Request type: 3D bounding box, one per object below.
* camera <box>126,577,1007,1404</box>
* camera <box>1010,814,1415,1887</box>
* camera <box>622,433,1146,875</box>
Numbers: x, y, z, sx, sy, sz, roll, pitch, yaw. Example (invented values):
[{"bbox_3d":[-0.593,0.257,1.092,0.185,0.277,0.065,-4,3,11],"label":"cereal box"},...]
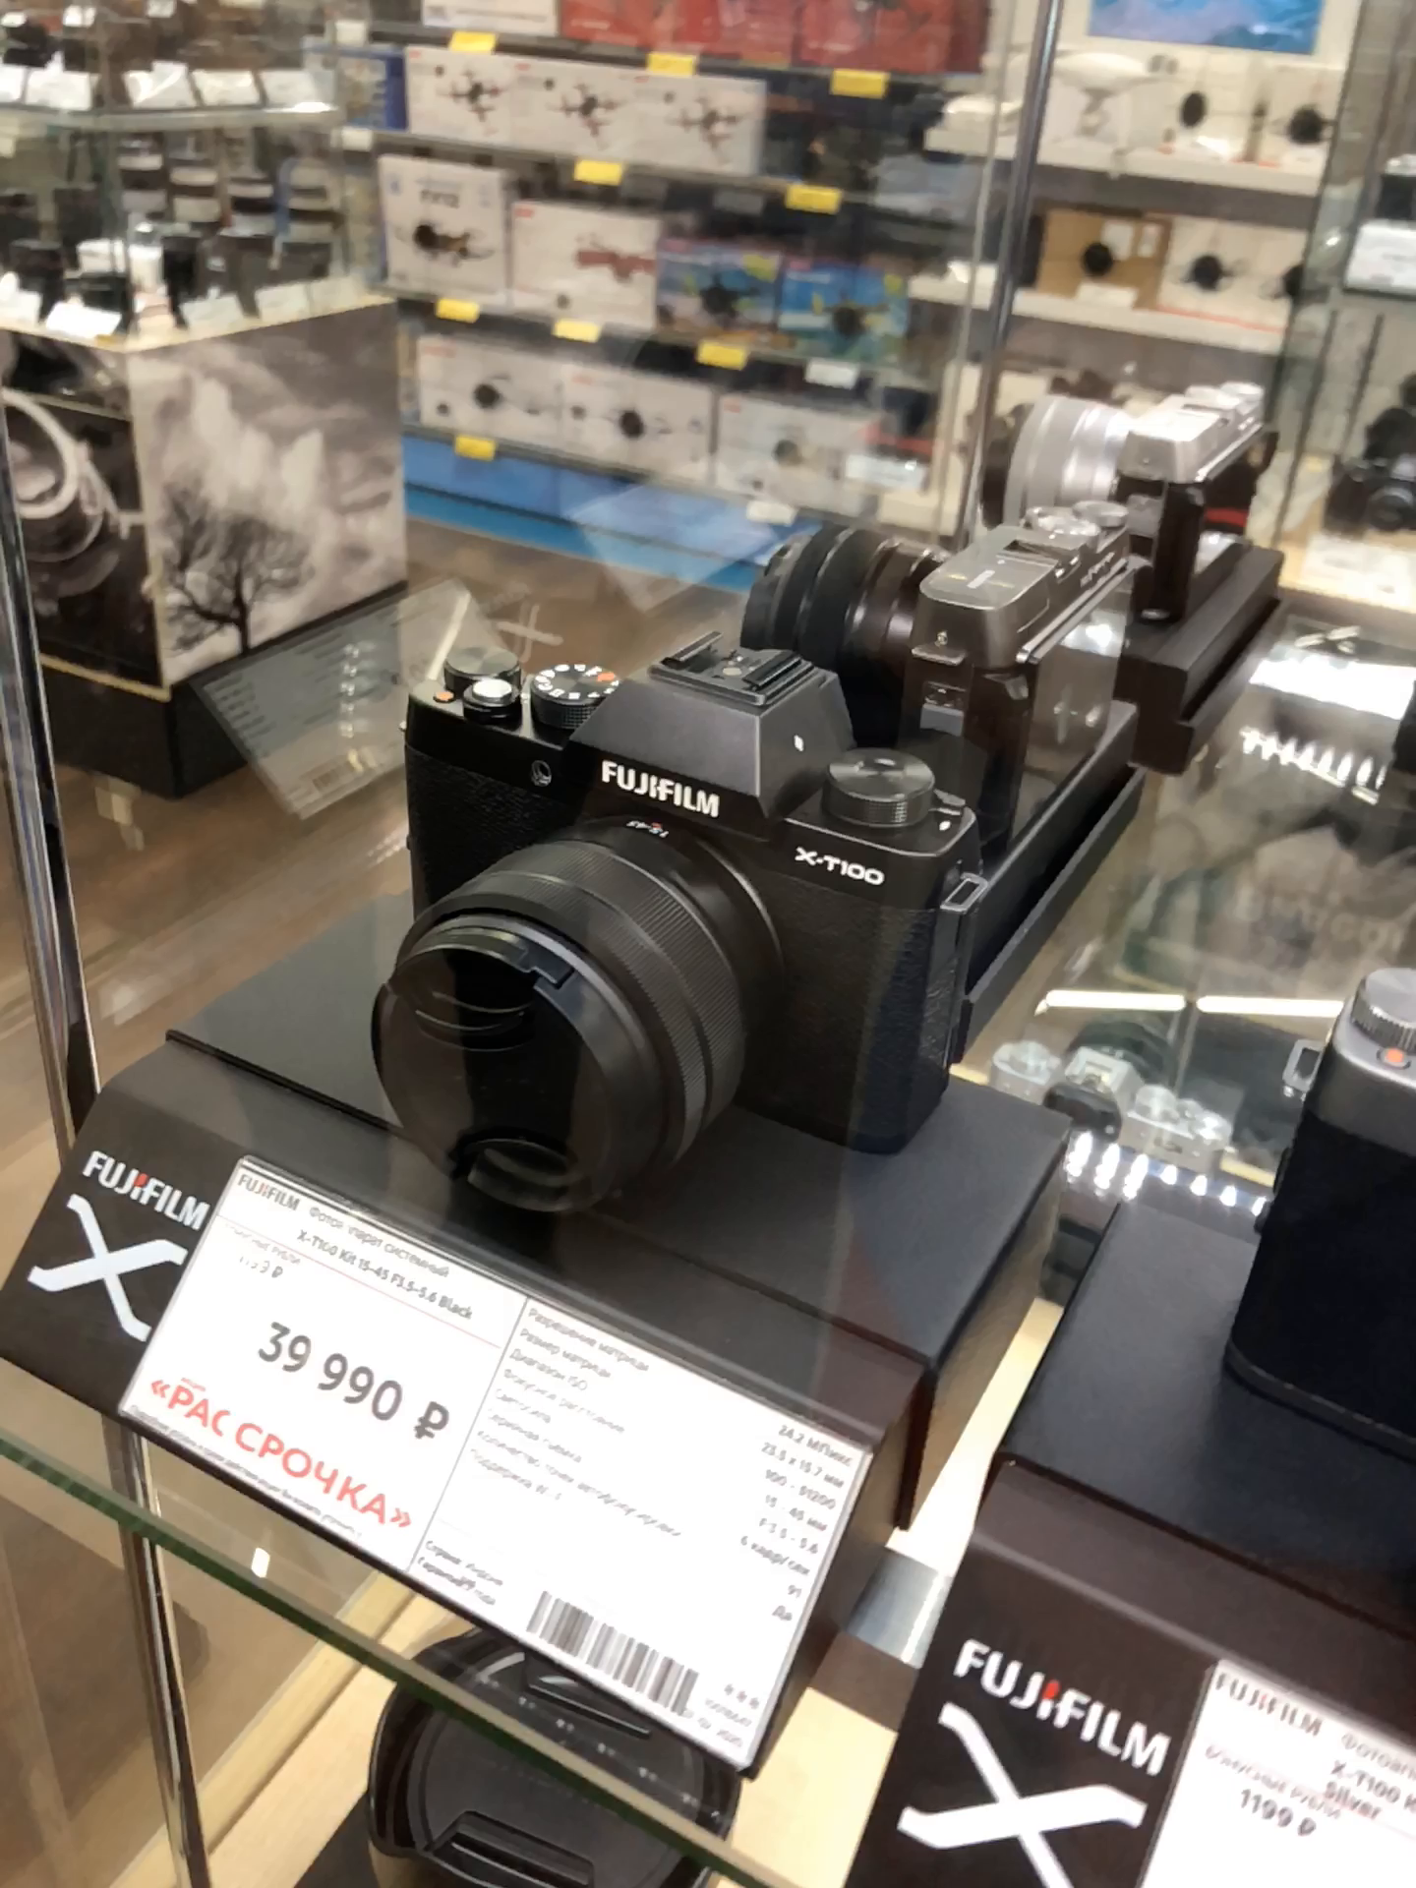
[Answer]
[{"bbox_3d":[-0.024,-0.001,0.296,0.120,0.089,0.095,20,34,24],"label":"camera"},{"bbox_3d":[0.119,0.052,0.205,0.120,0.078,0.099,19,34,24],"label":"camera"},{"bbox_3d":[0.051,-0.087,0.436,0.100,0.069,0.121,18,33,21],"label":"camera"}]
